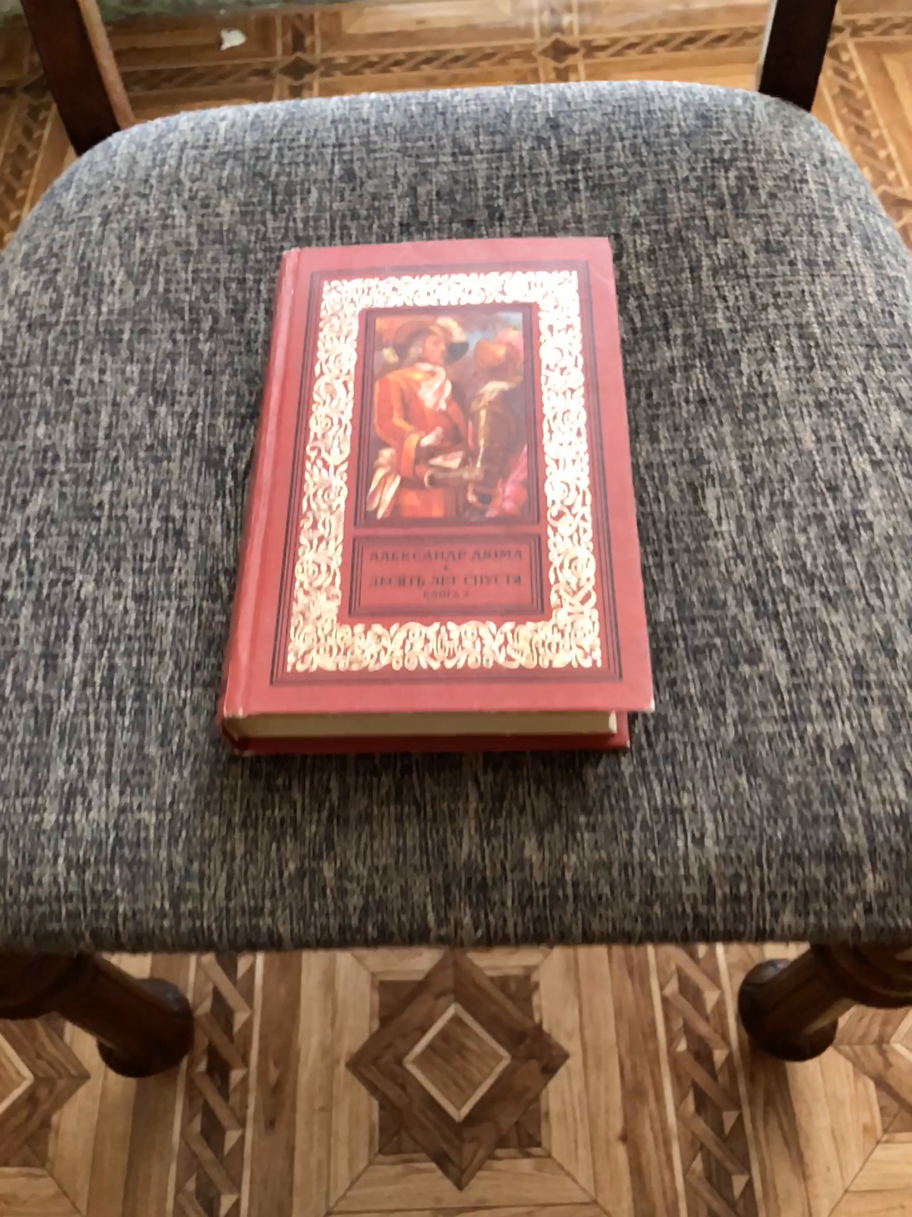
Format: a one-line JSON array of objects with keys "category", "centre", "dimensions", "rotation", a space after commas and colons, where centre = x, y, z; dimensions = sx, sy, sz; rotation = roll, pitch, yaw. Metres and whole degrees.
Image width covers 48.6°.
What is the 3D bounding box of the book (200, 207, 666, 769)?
[{"category": "book", "centre": [-0.006, -0.050, 0.351], "dimensions": [0.131, 0.038, 0.207], "rotation": [-2, 60, 3]}]
